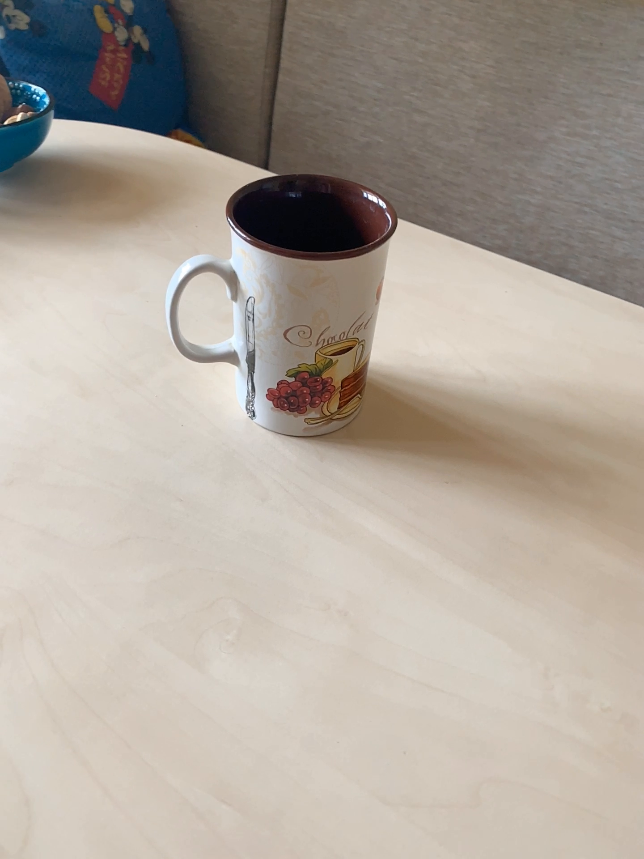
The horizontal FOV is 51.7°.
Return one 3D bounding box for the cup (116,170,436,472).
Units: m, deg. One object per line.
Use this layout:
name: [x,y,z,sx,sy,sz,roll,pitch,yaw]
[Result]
cup: [-0.028,-0.059,0.346,0.130,0.110,0.090,-10,45,-16]
